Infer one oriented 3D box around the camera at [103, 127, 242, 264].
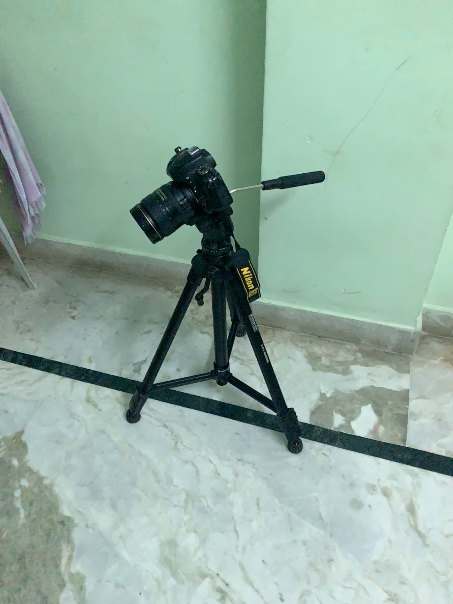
[{"bbox_3d":[-0.103,-0.200,0.852,0.180,0.110,0.171,-35,45,-1],"label":"camera"}]
